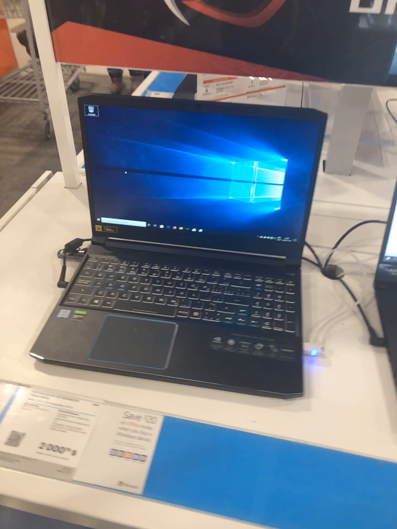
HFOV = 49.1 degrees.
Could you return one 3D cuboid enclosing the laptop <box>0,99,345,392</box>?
[{"bbox_3d":[-0.021,-0.042,0.573,0.348,0.230,0.274,6,42,8],"label":"laptop"}]
